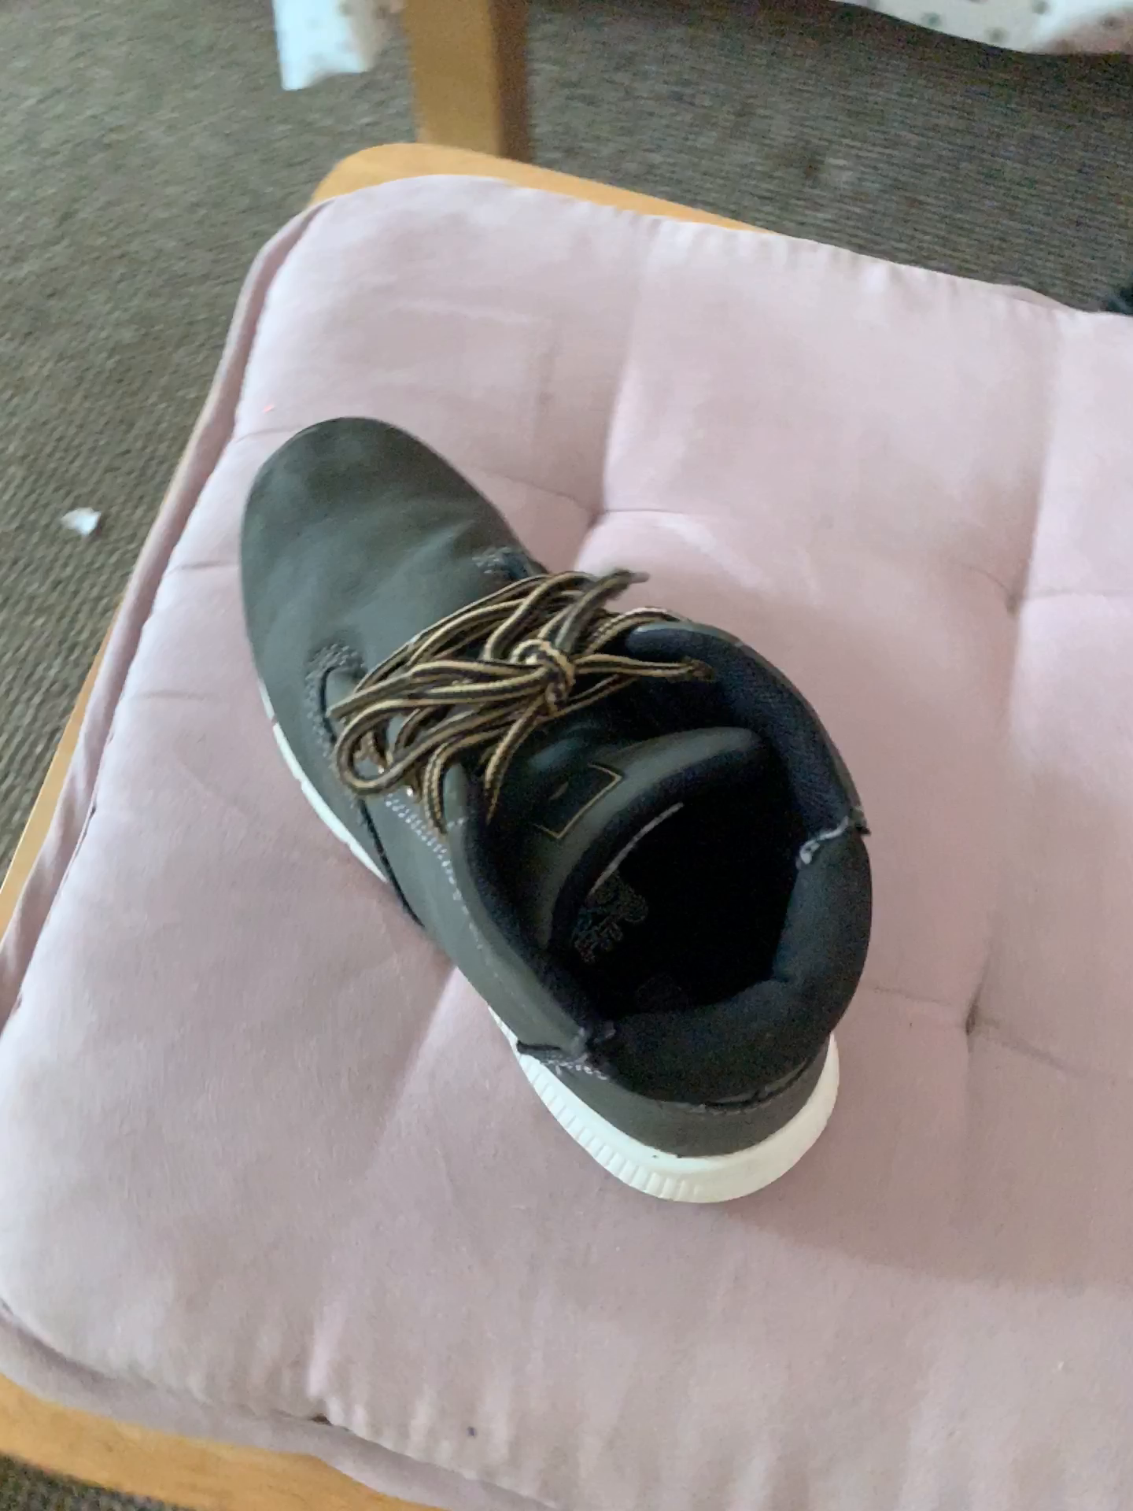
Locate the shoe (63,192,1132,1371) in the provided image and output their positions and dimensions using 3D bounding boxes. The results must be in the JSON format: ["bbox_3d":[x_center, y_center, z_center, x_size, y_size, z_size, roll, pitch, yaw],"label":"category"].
[{"bbox_3d":[-0.003,0.005,0.293,0.100,0.130,0.231,-34,74,-10],"label":"shoe"}]
